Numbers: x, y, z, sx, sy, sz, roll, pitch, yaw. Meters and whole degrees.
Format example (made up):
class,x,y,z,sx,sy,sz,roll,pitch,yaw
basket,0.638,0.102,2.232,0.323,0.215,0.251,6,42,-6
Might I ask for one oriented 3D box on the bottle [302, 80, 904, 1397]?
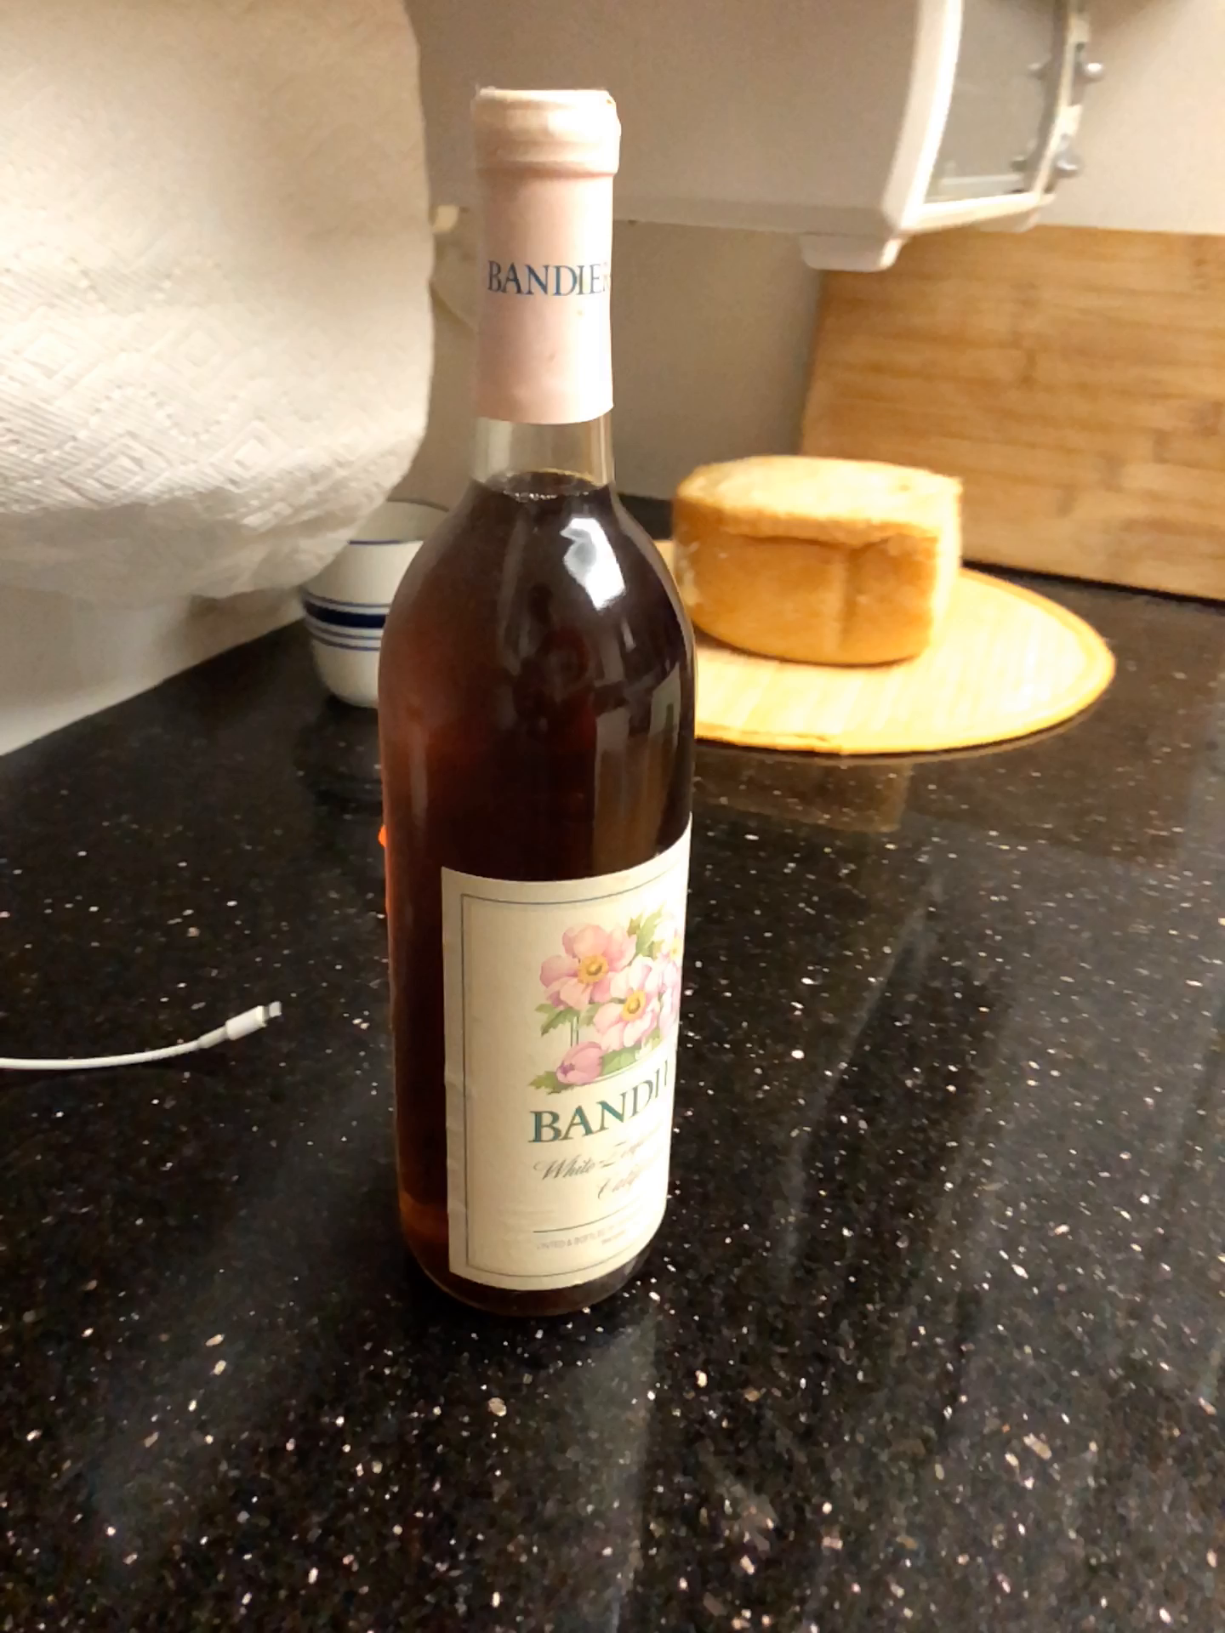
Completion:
class,x,y,z,sx,sy,sz,roll,pitch,yaw
bottle,-0.007,-0.011,0.316,0.080,0.278,0.080,2,26,-1
